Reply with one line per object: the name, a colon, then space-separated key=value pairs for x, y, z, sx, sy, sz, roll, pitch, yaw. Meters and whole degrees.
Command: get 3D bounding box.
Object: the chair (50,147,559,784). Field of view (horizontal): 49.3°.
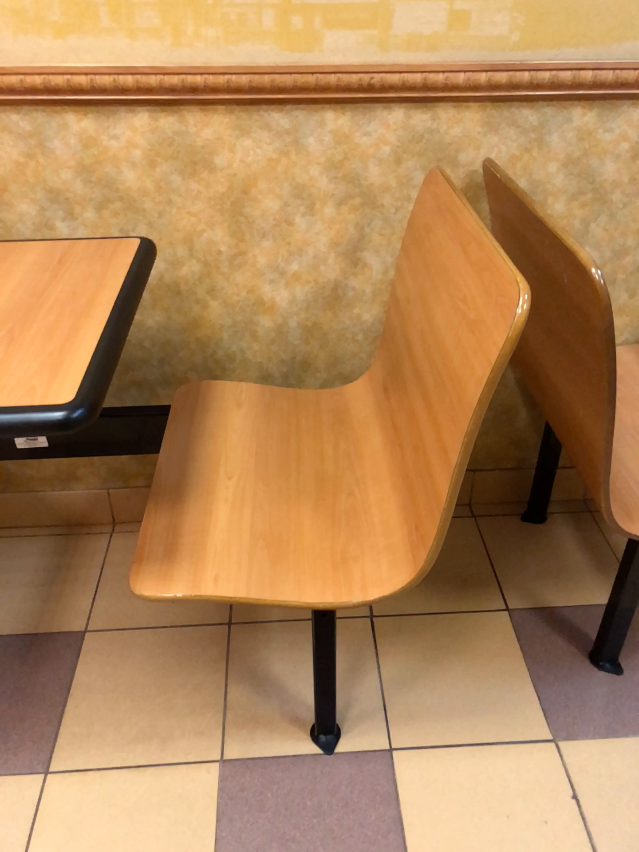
chair: x=-0.025 y=0.057 z=1.205 sx=0.510 sy=0.885 sz=0.634 roll=-1 pitch=34 yaw=-2
